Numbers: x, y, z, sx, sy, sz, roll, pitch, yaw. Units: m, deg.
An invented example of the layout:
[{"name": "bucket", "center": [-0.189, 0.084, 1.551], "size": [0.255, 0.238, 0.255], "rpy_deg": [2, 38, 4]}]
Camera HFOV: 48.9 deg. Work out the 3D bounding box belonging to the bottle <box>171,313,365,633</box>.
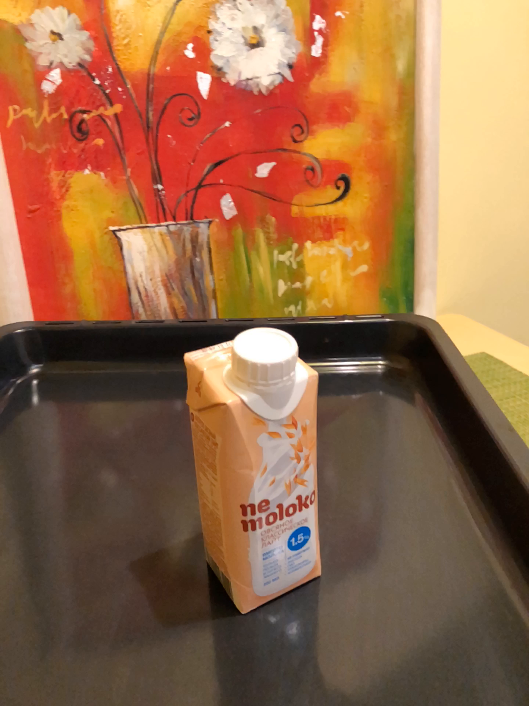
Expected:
[{"name": "bottle", "center": [0.001, 0.052, 0.271], "size": [0.060, 0.119, 0.060], "rpy_deg": [-1, 23, 0]}]
